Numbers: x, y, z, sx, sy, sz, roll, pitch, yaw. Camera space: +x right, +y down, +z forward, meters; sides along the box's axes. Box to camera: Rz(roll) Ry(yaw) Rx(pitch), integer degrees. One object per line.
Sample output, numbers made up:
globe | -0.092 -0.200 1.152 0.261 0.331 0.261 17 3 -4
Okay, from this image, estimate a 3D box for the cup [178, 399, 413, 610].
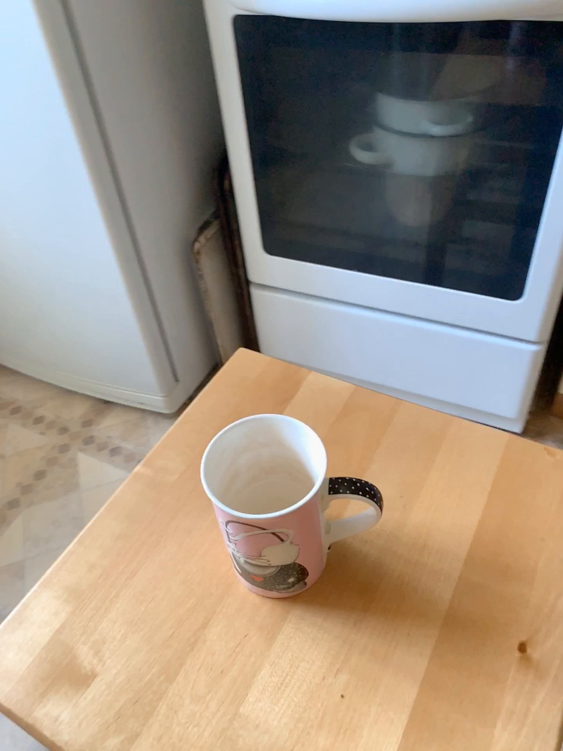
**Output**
cup | 0.011 0.082 0.358 0.120 0.099 0.081 -3 44 4
